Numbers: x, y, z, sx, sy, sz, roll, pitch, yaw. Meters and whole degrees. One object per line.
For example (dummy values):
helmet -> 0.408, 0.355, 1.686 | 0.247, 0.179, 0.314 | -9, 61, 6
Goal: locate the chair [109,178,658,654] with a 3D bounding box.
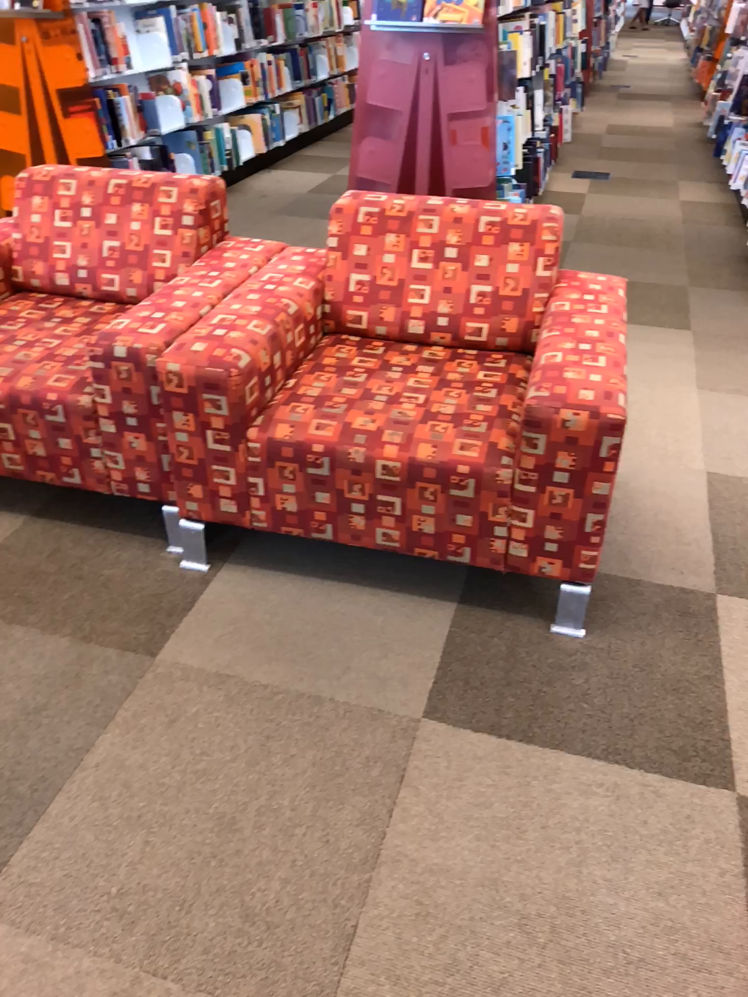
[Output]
chair -> 0.107, -0.301, 2.034 | 1.002, 0.686, 0.997 | 9, 33, 12

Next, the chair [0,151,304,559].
chair -> -0.800, -0.472, 2.278 | 0.919, 0.716, 0.956 | 9, 33, 12
